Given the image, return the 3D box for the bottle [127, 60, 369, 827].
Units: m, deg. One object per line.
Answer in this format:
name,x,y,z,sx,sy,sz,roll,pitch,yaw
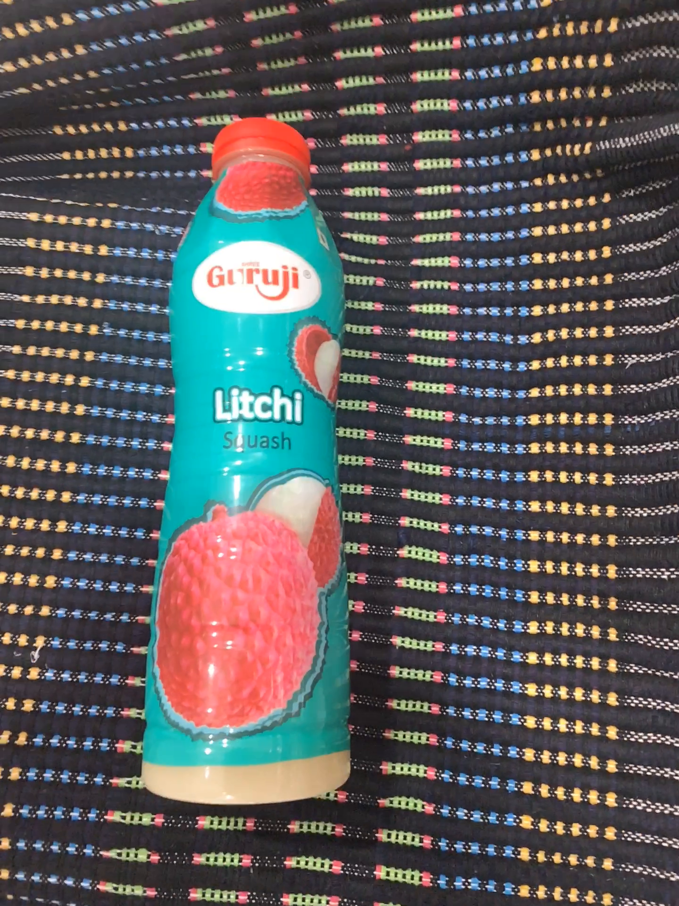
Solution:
bottle,-0.033,-0.014,0.285,0.070,0.080,0.280,0,72,-5
